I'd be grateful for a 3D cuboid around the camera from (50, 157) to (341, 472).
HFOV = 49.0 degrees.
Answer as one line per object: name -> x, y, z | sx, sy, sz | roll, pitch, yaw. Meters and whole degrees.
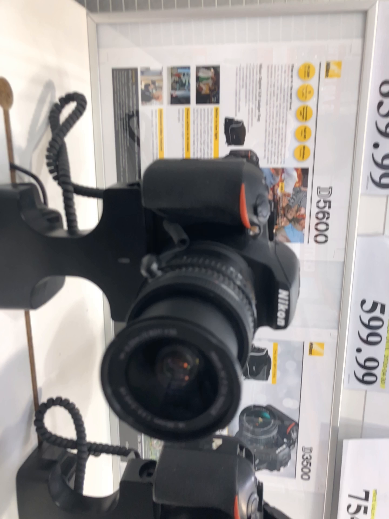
camera -> 0.013, 0.010, 0.254 | 0.160, 0.110, 0.120 | -65, 155, -68
